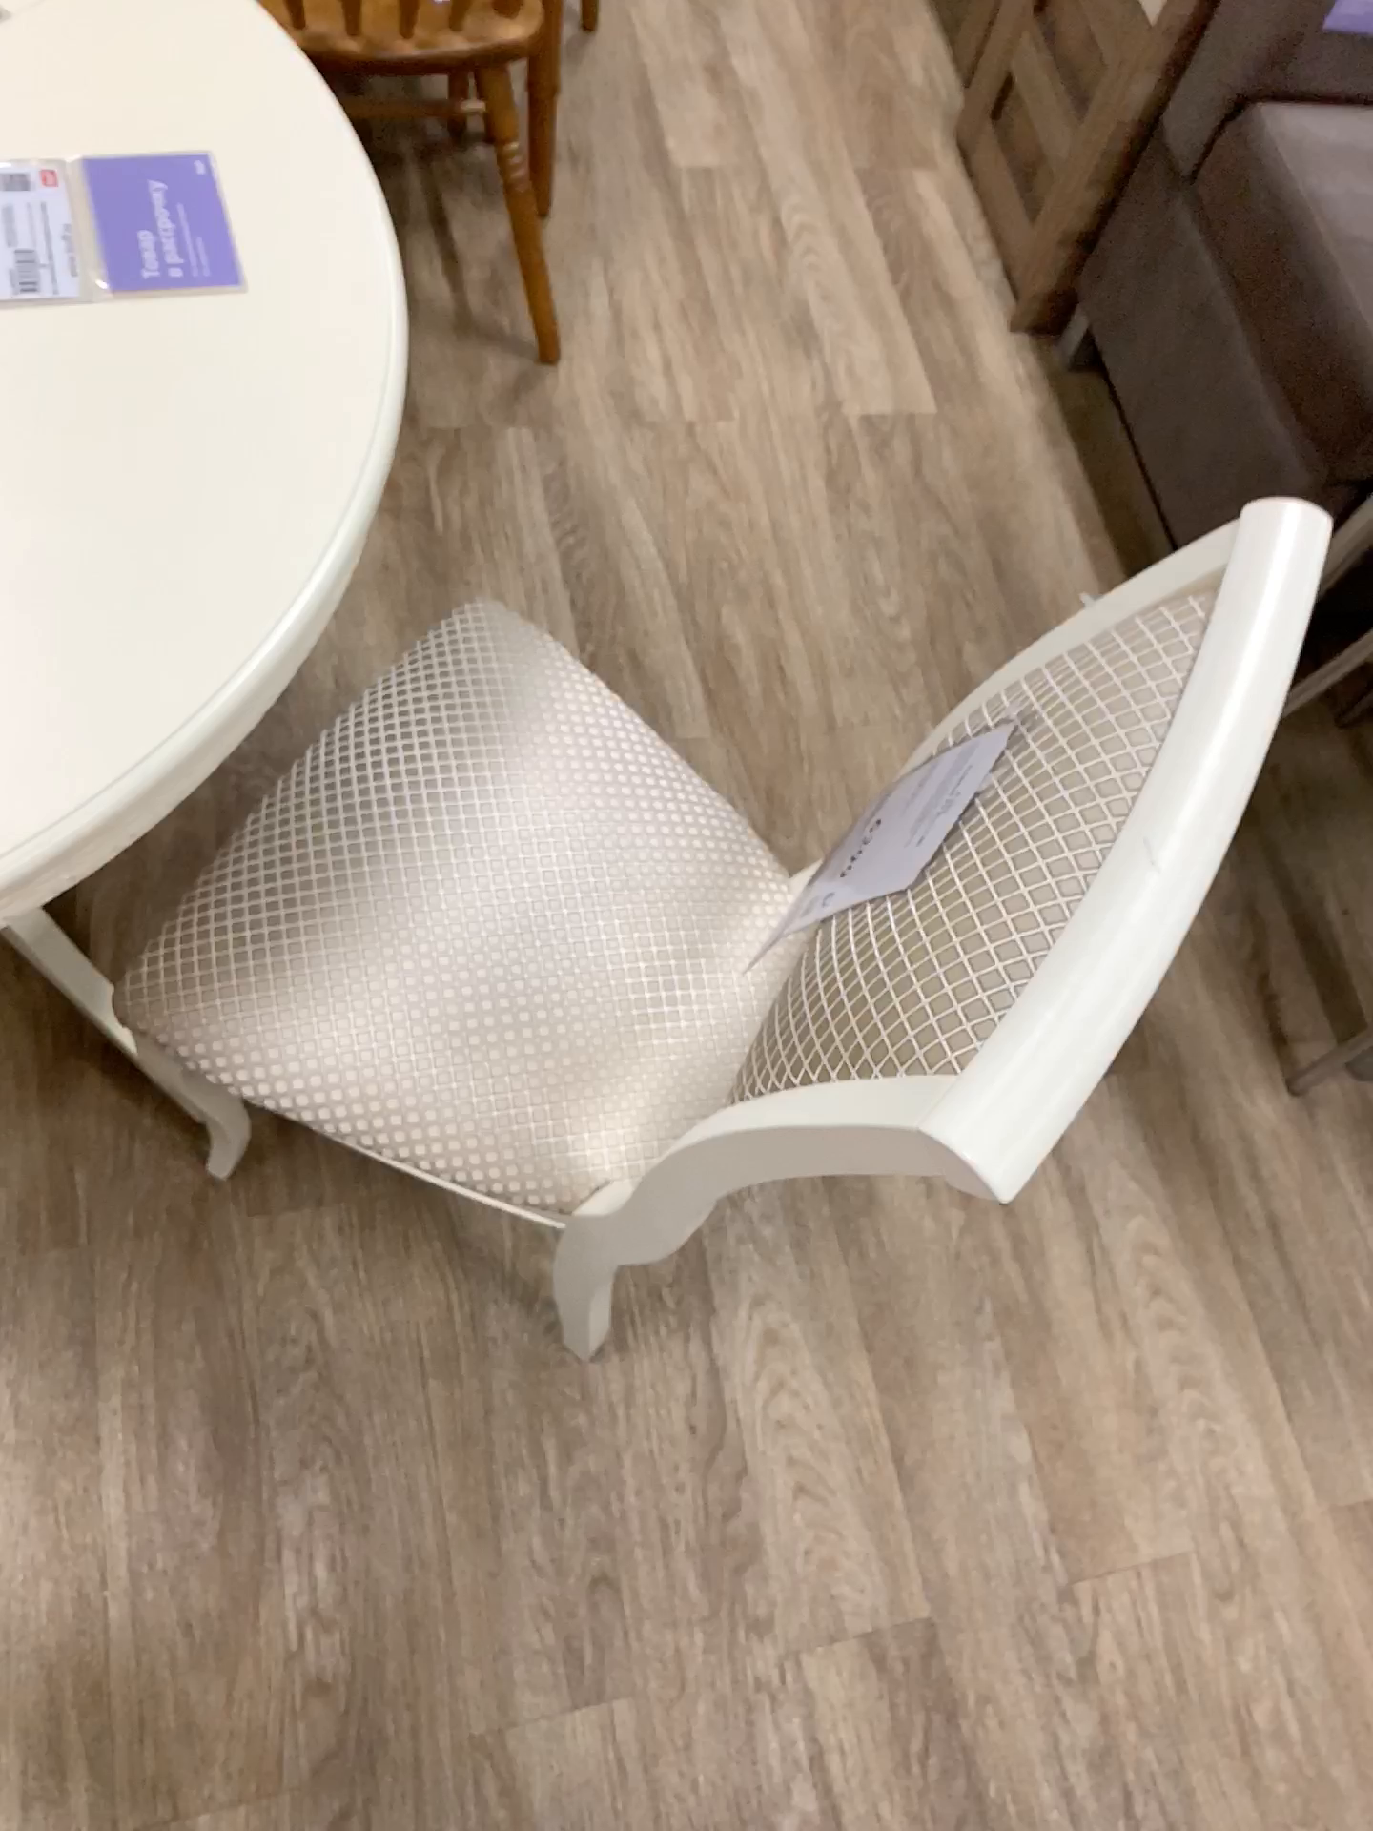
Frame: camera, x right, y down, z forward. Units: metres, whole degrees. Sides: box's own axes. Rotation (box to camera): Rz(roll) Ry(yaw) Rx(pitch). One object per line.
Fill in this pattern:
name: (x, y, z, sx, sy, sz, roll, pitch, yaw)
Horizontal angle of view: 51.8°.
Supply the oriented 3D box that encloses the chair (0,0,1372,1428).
chair: (-0.043, -0.010, 1.025, 0.510, 0.908, 0.461, 28, 63, 2)
